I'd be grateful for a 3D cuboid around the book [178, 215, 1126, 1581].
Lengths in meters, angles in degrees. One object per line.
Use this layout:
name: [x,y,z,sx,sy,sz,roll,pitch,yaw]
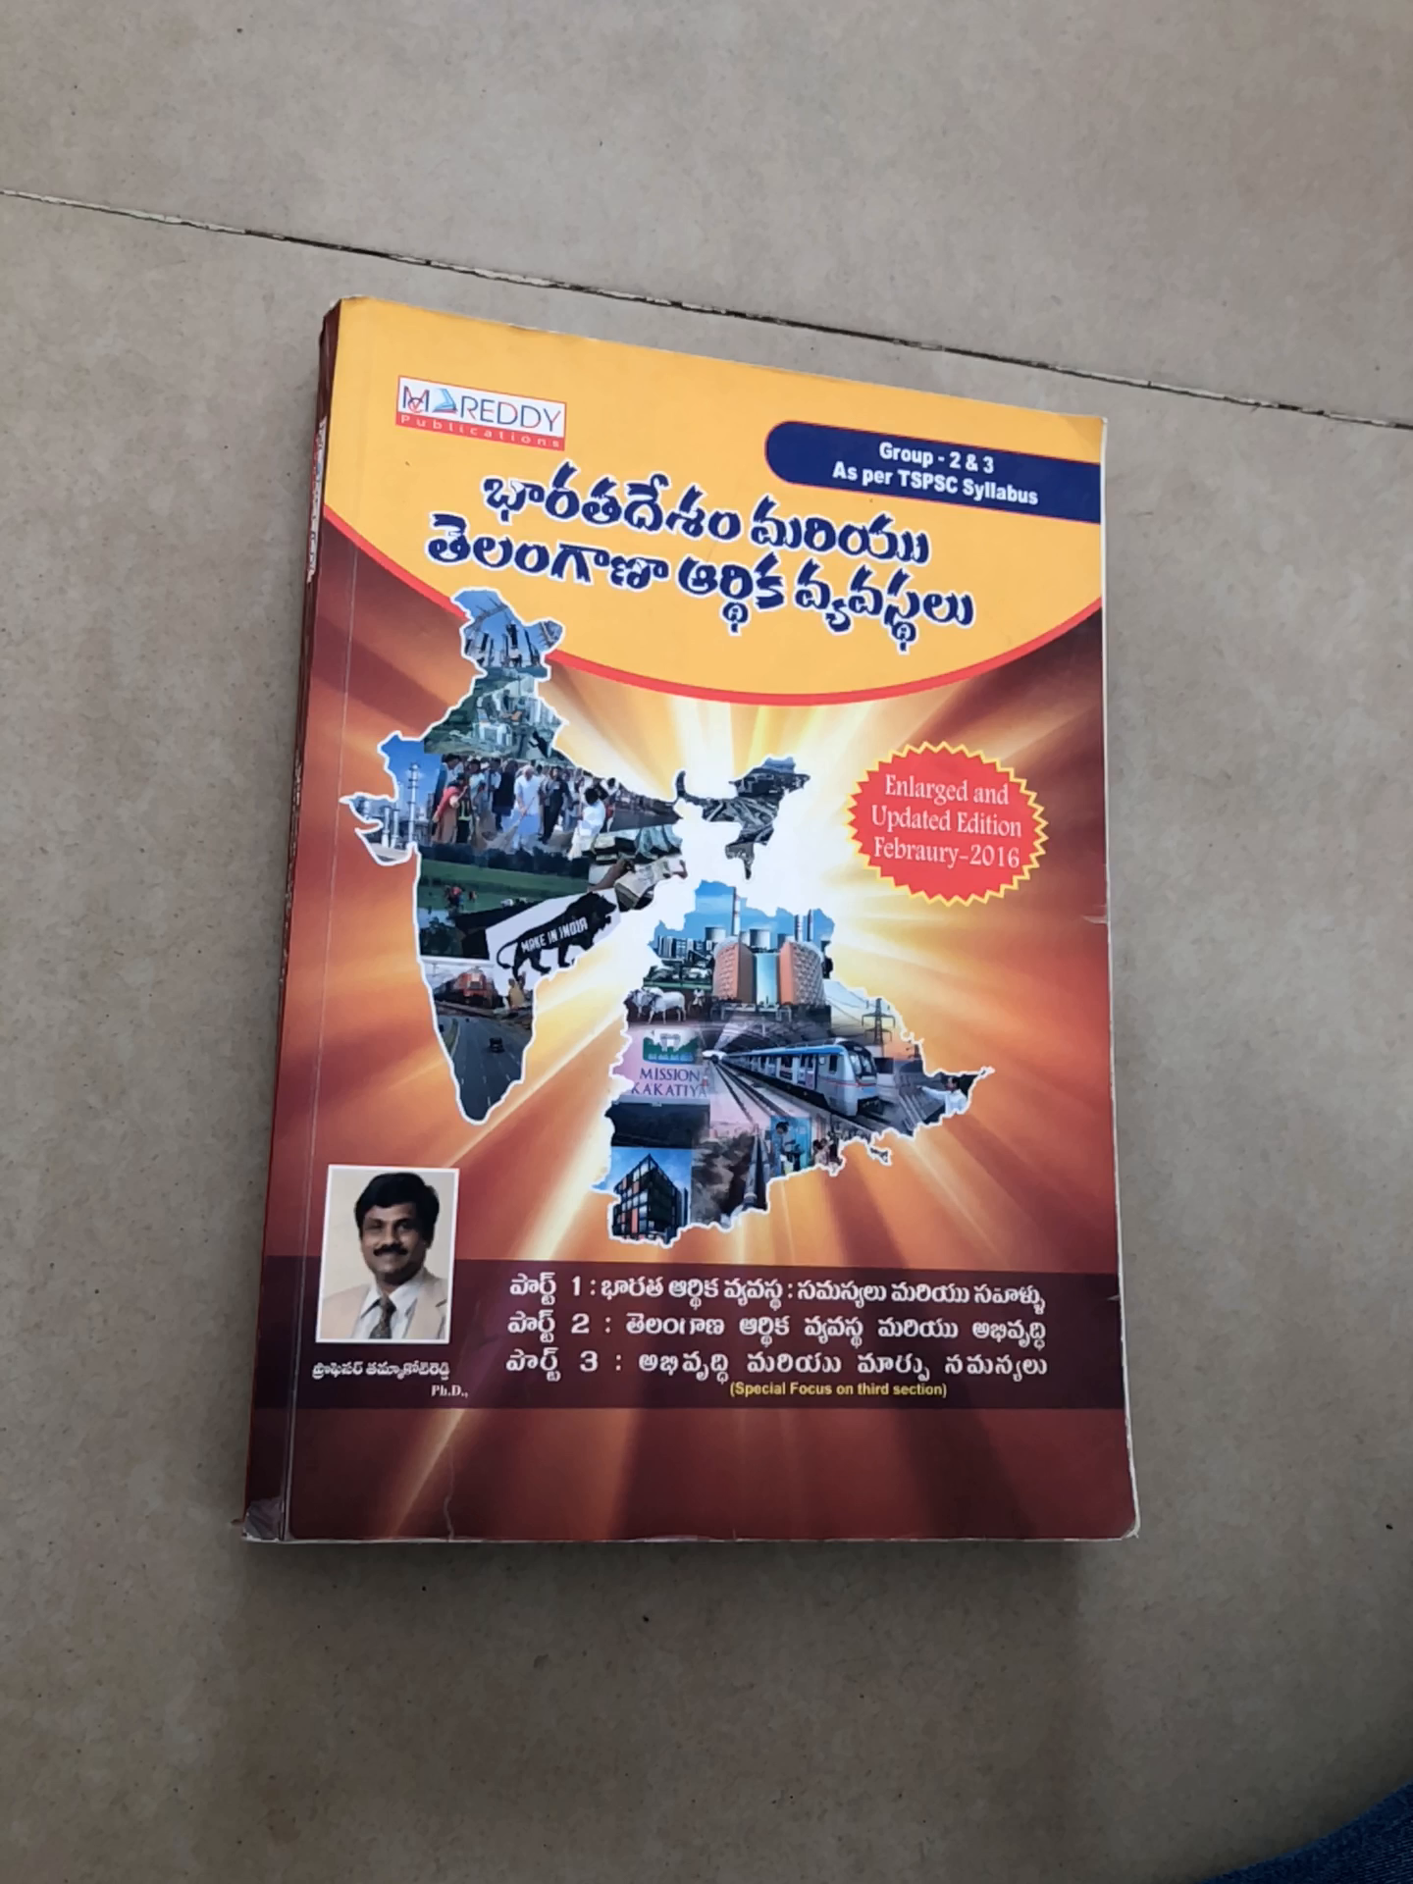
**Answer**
book: [-0.005,-0.012,0.350,0.190,0.030,0.280,4,78,-13]
